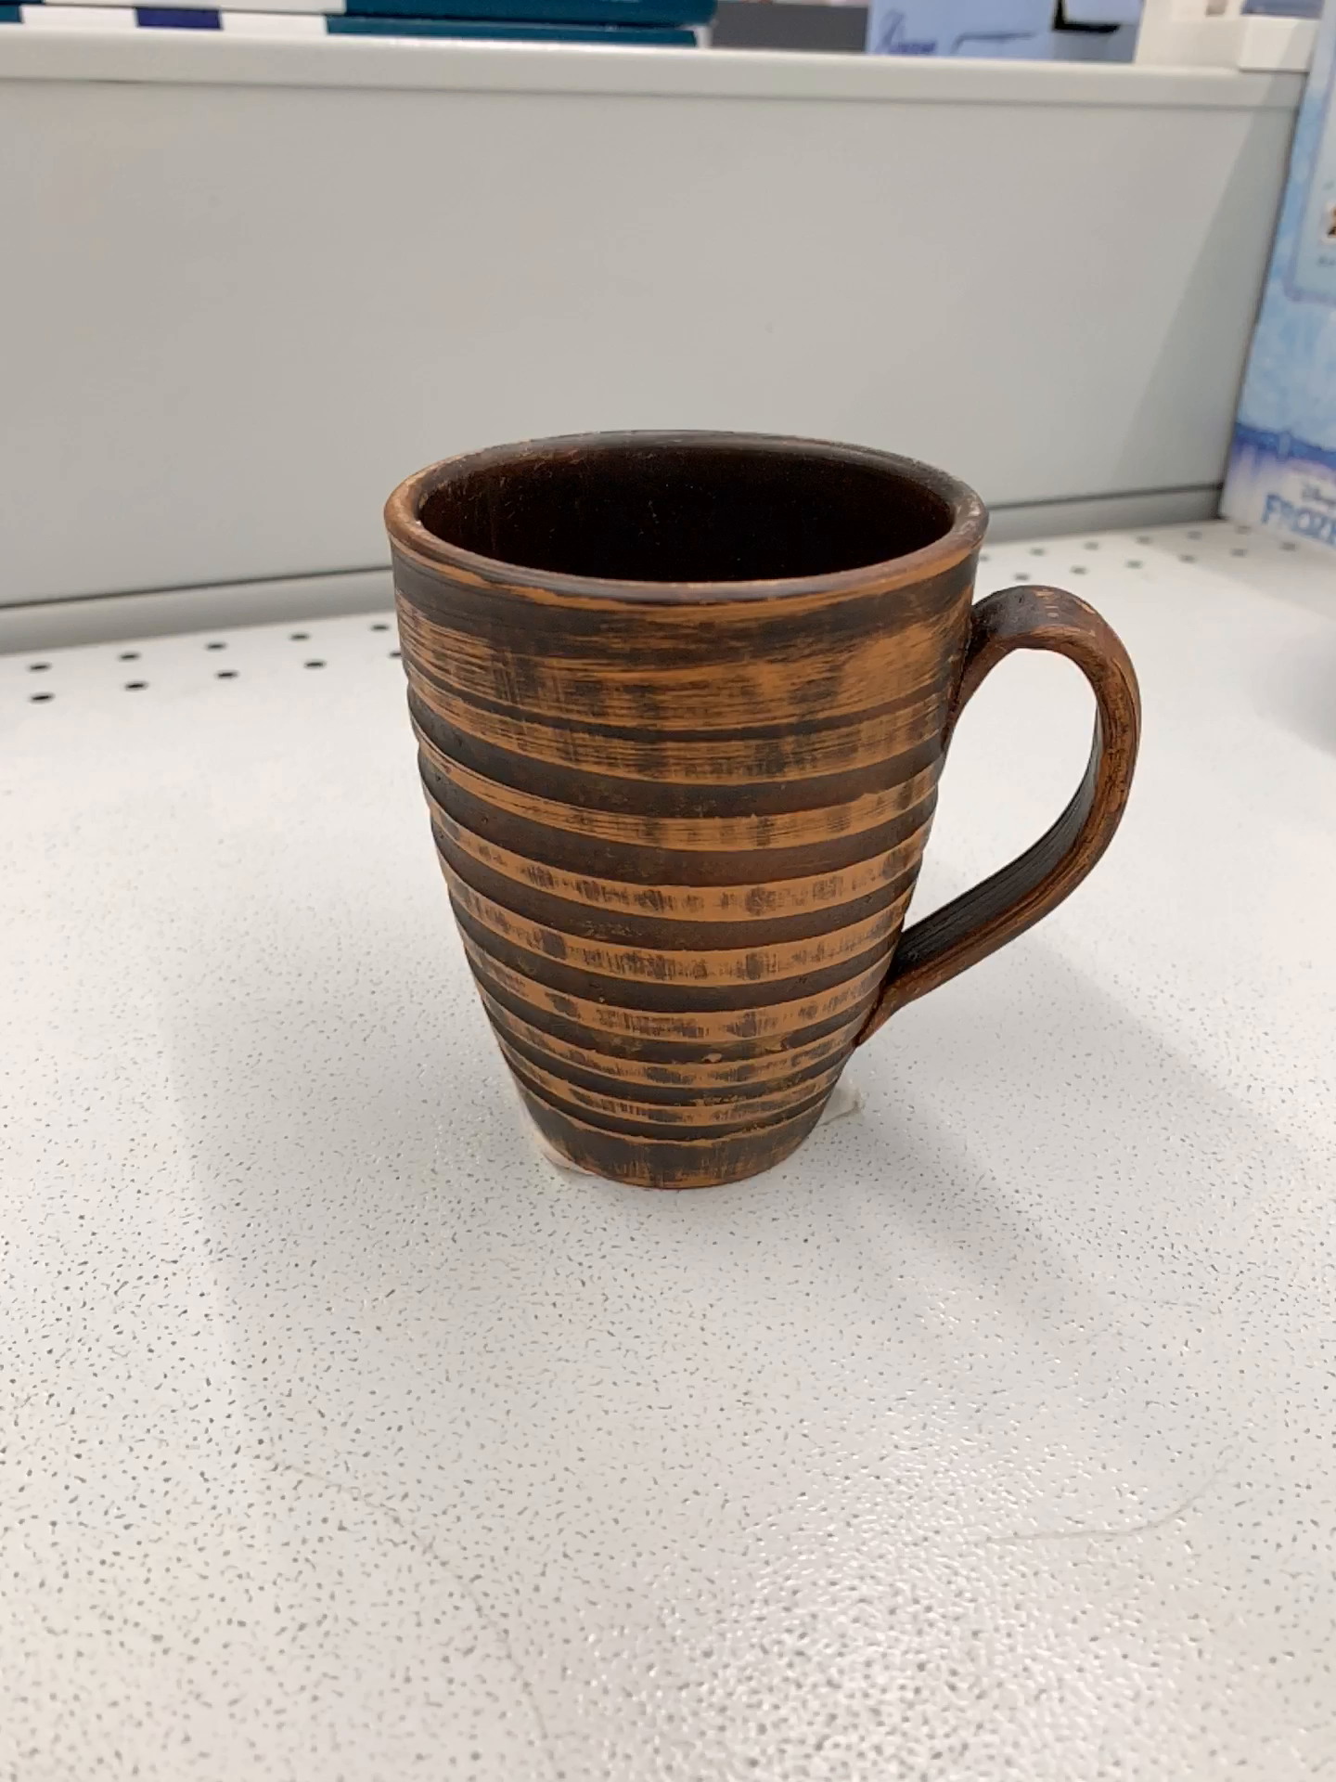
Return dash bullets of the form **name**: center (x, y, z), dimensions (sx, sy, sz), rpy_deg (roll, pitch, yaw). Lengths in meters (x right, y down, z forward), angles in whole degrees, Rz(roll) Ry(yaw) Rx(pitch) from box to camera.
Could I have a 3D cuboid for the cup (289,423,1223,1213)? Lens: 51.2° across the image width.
- **cup**: center (0.011, -0.016, 0.216), dimensions (0.105, 0.089, 0.084), rpy_deg (3, 30, 2)
